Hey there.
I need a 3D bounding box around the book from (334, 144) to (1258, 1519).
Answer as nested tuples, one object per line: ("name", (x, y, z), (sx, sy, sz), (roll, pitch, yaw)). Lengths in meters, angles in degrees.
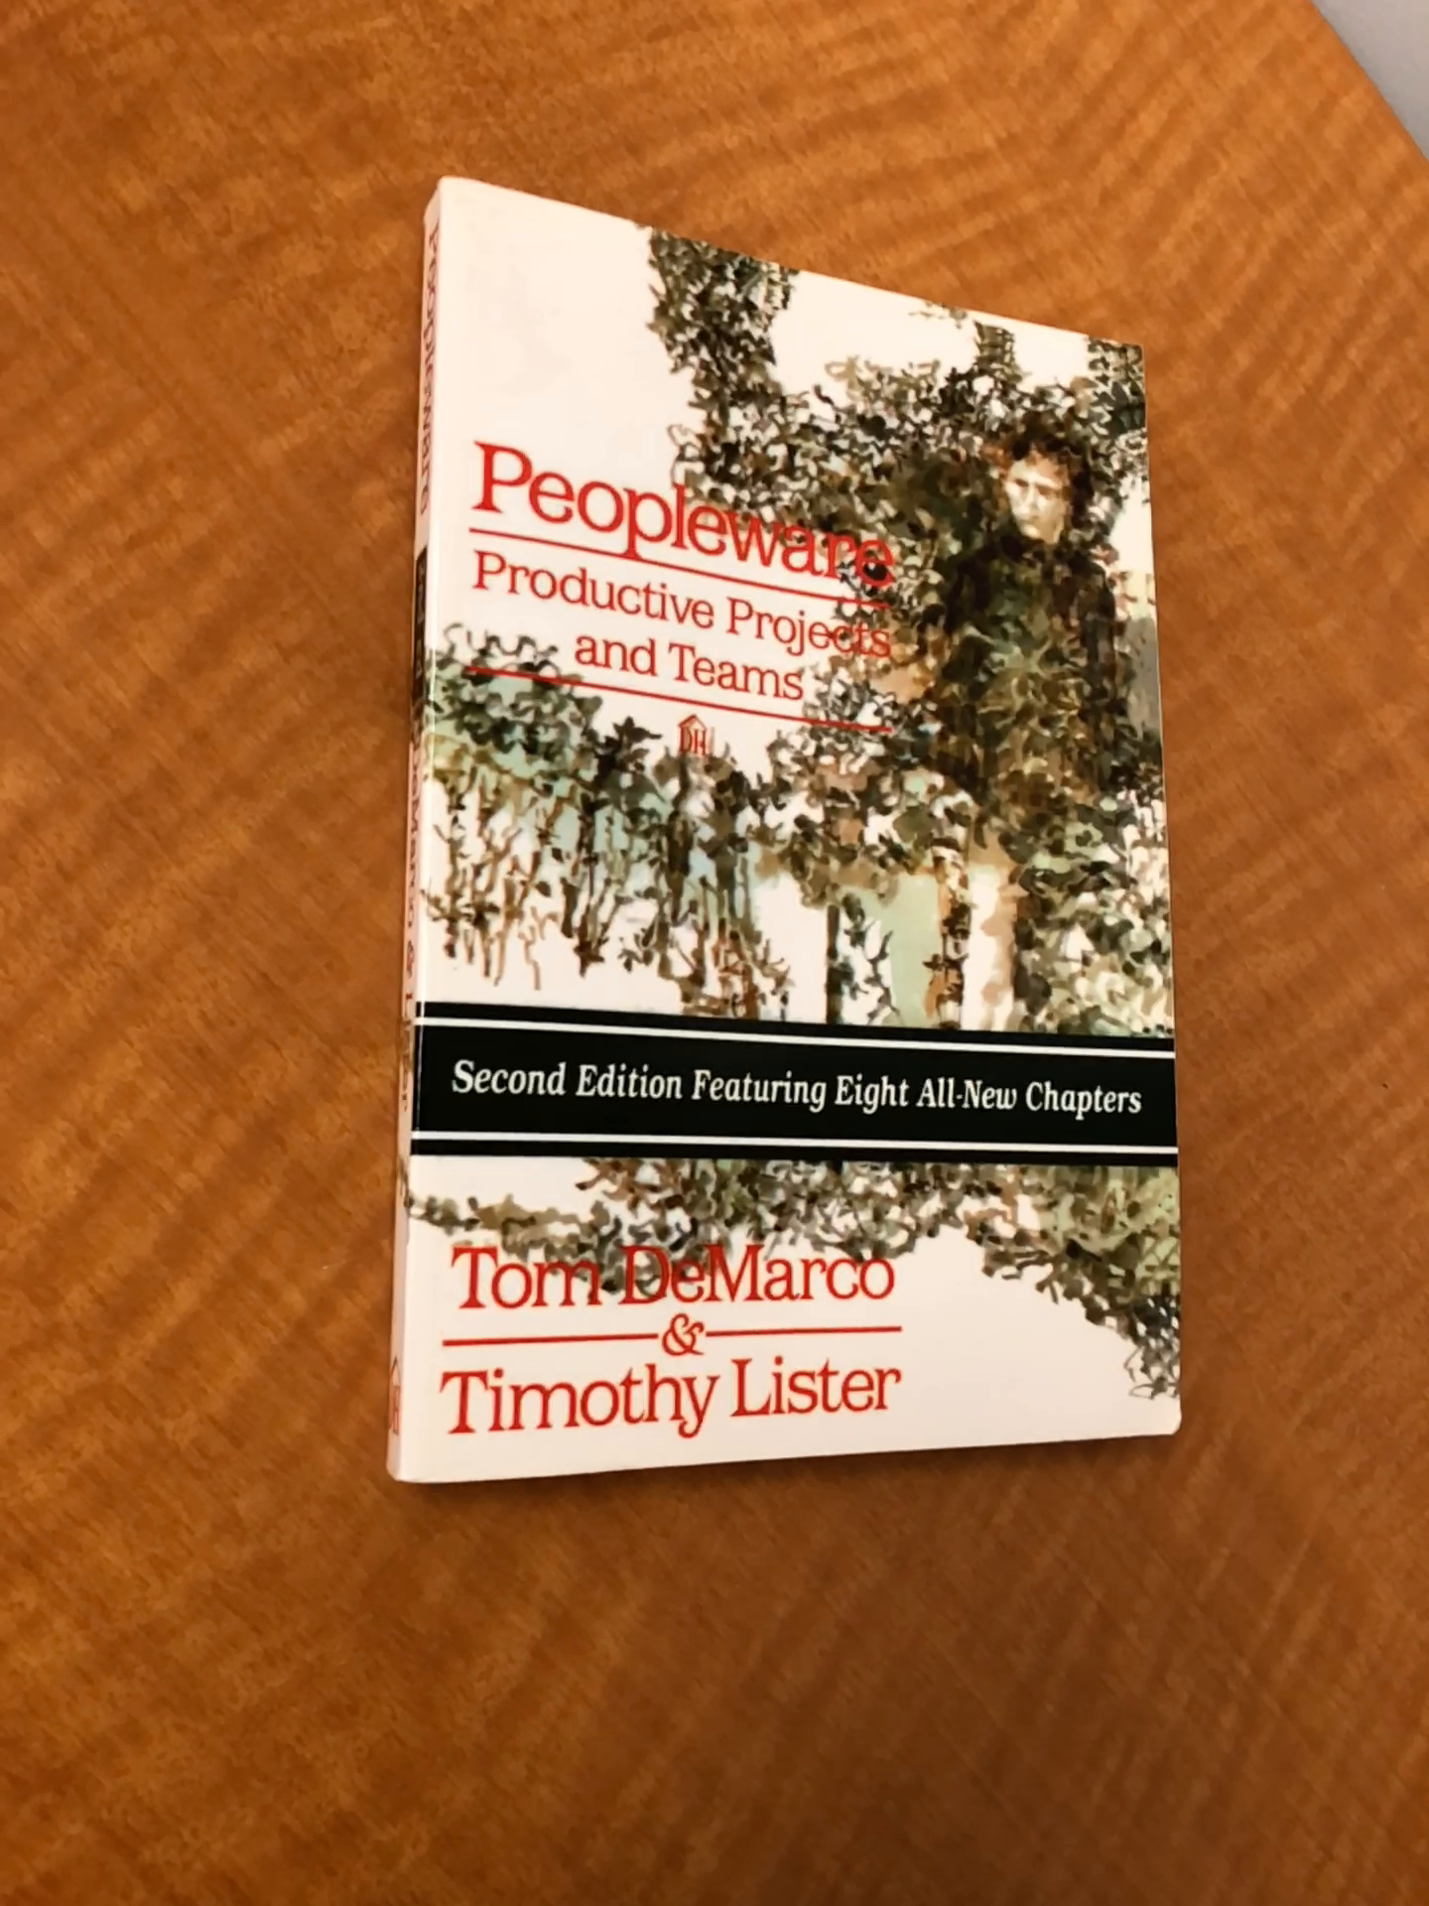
("book", (0.017, -0.018, 0.301), (0.160, 0.050, 0.220), (4, 80, -23))
